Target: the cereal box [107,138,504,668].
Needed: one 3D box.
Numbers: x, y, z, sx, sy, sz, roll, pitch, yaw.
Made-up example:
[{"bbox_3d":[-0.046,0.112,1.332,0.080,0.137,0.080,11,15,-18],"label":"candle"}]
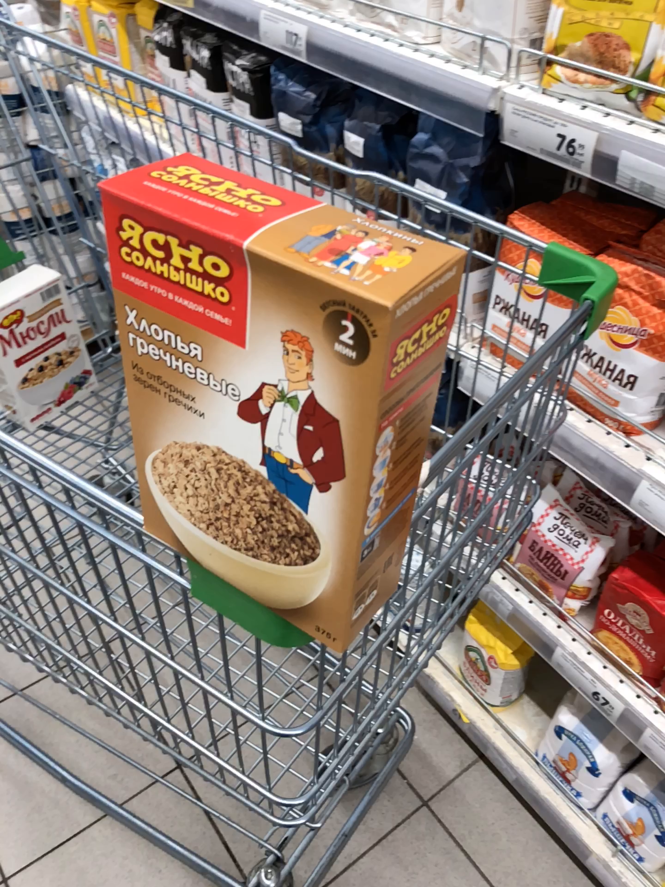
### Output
[{"bbox_3d":[-0.017,-0.012,0.318,0.130,0.189,0.060,28,46,25],"label":"cereal box"}]
